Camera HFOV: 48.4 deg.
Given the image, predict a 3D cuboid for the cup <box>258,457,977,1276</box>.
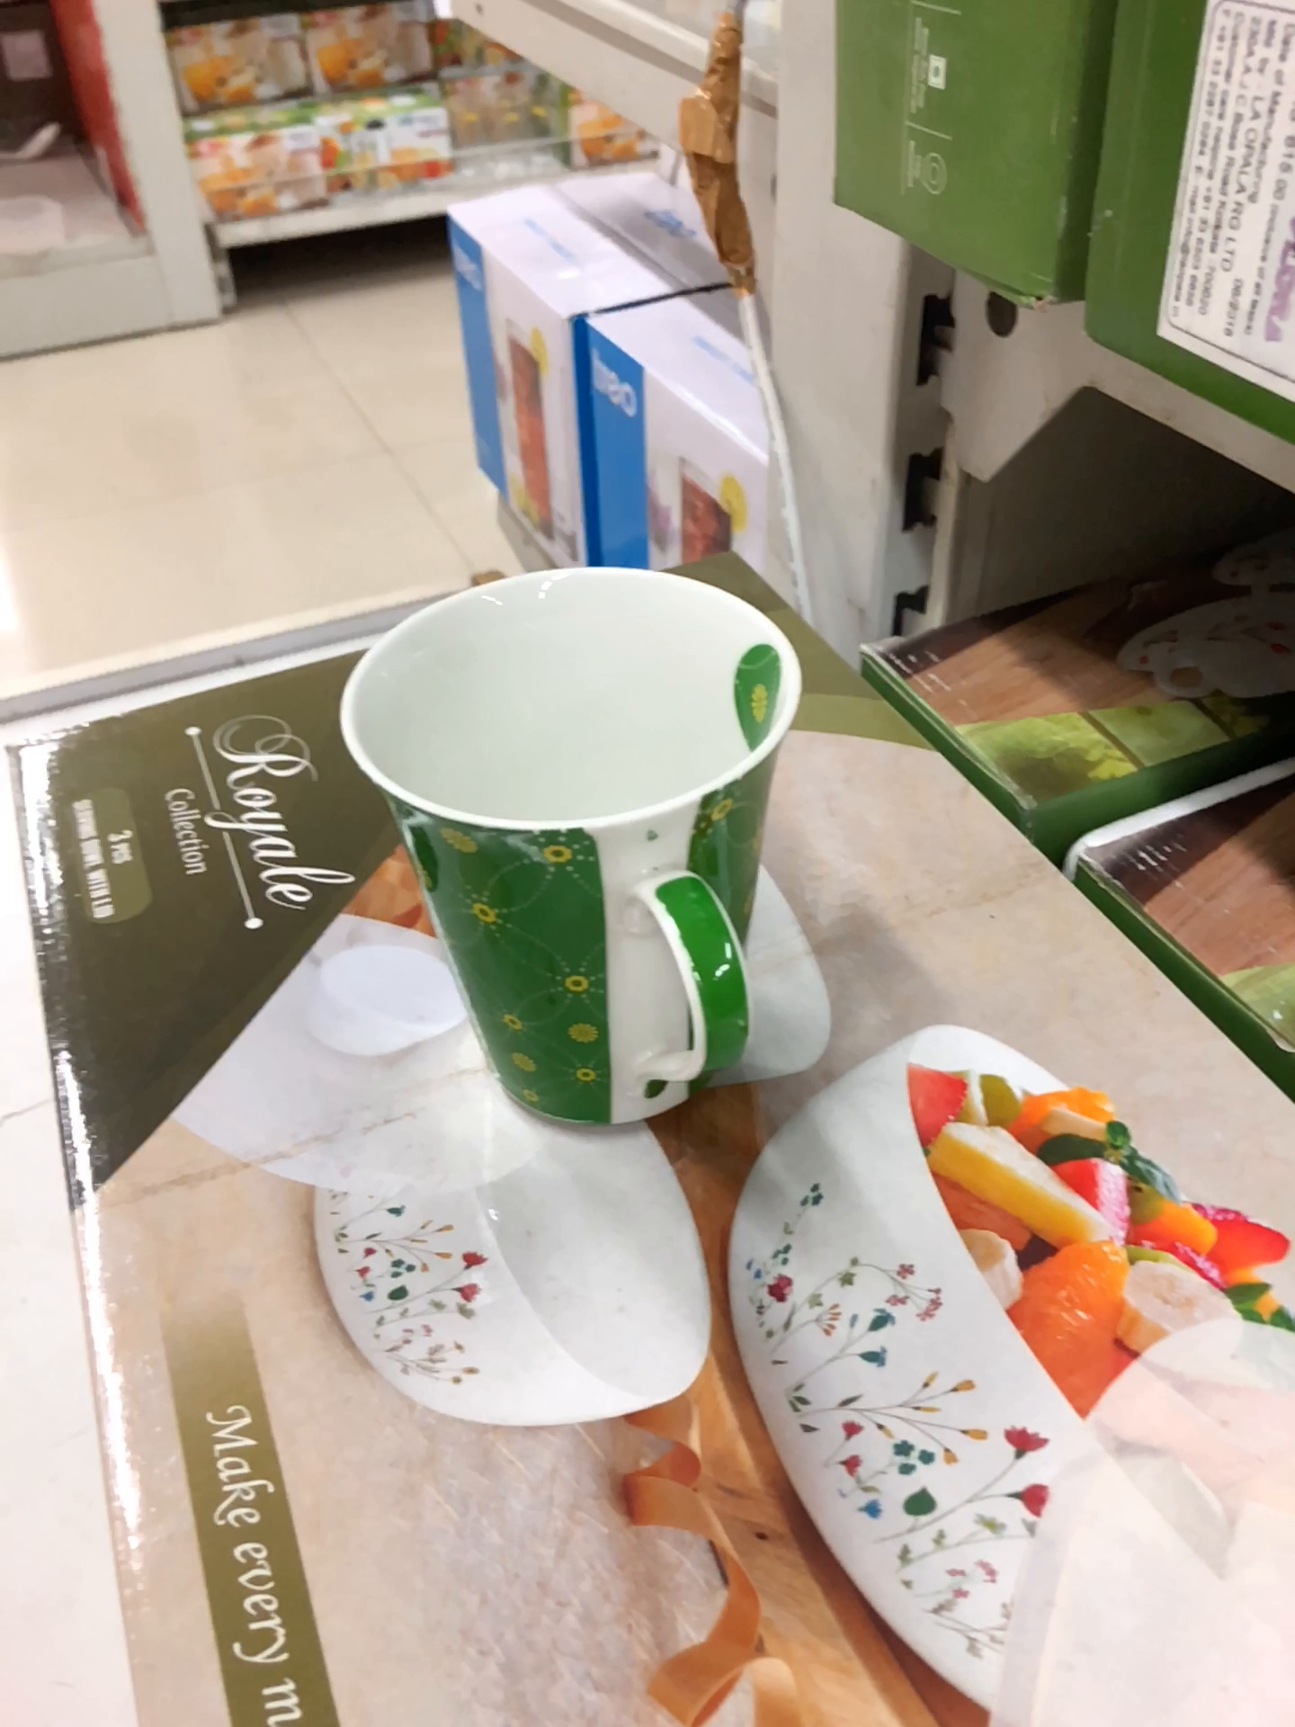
[{"bbox_3d":[-0.010,-0.006,0.278,0.090,0.089,0.111,-17,42,-16],"label":"cup"}]
